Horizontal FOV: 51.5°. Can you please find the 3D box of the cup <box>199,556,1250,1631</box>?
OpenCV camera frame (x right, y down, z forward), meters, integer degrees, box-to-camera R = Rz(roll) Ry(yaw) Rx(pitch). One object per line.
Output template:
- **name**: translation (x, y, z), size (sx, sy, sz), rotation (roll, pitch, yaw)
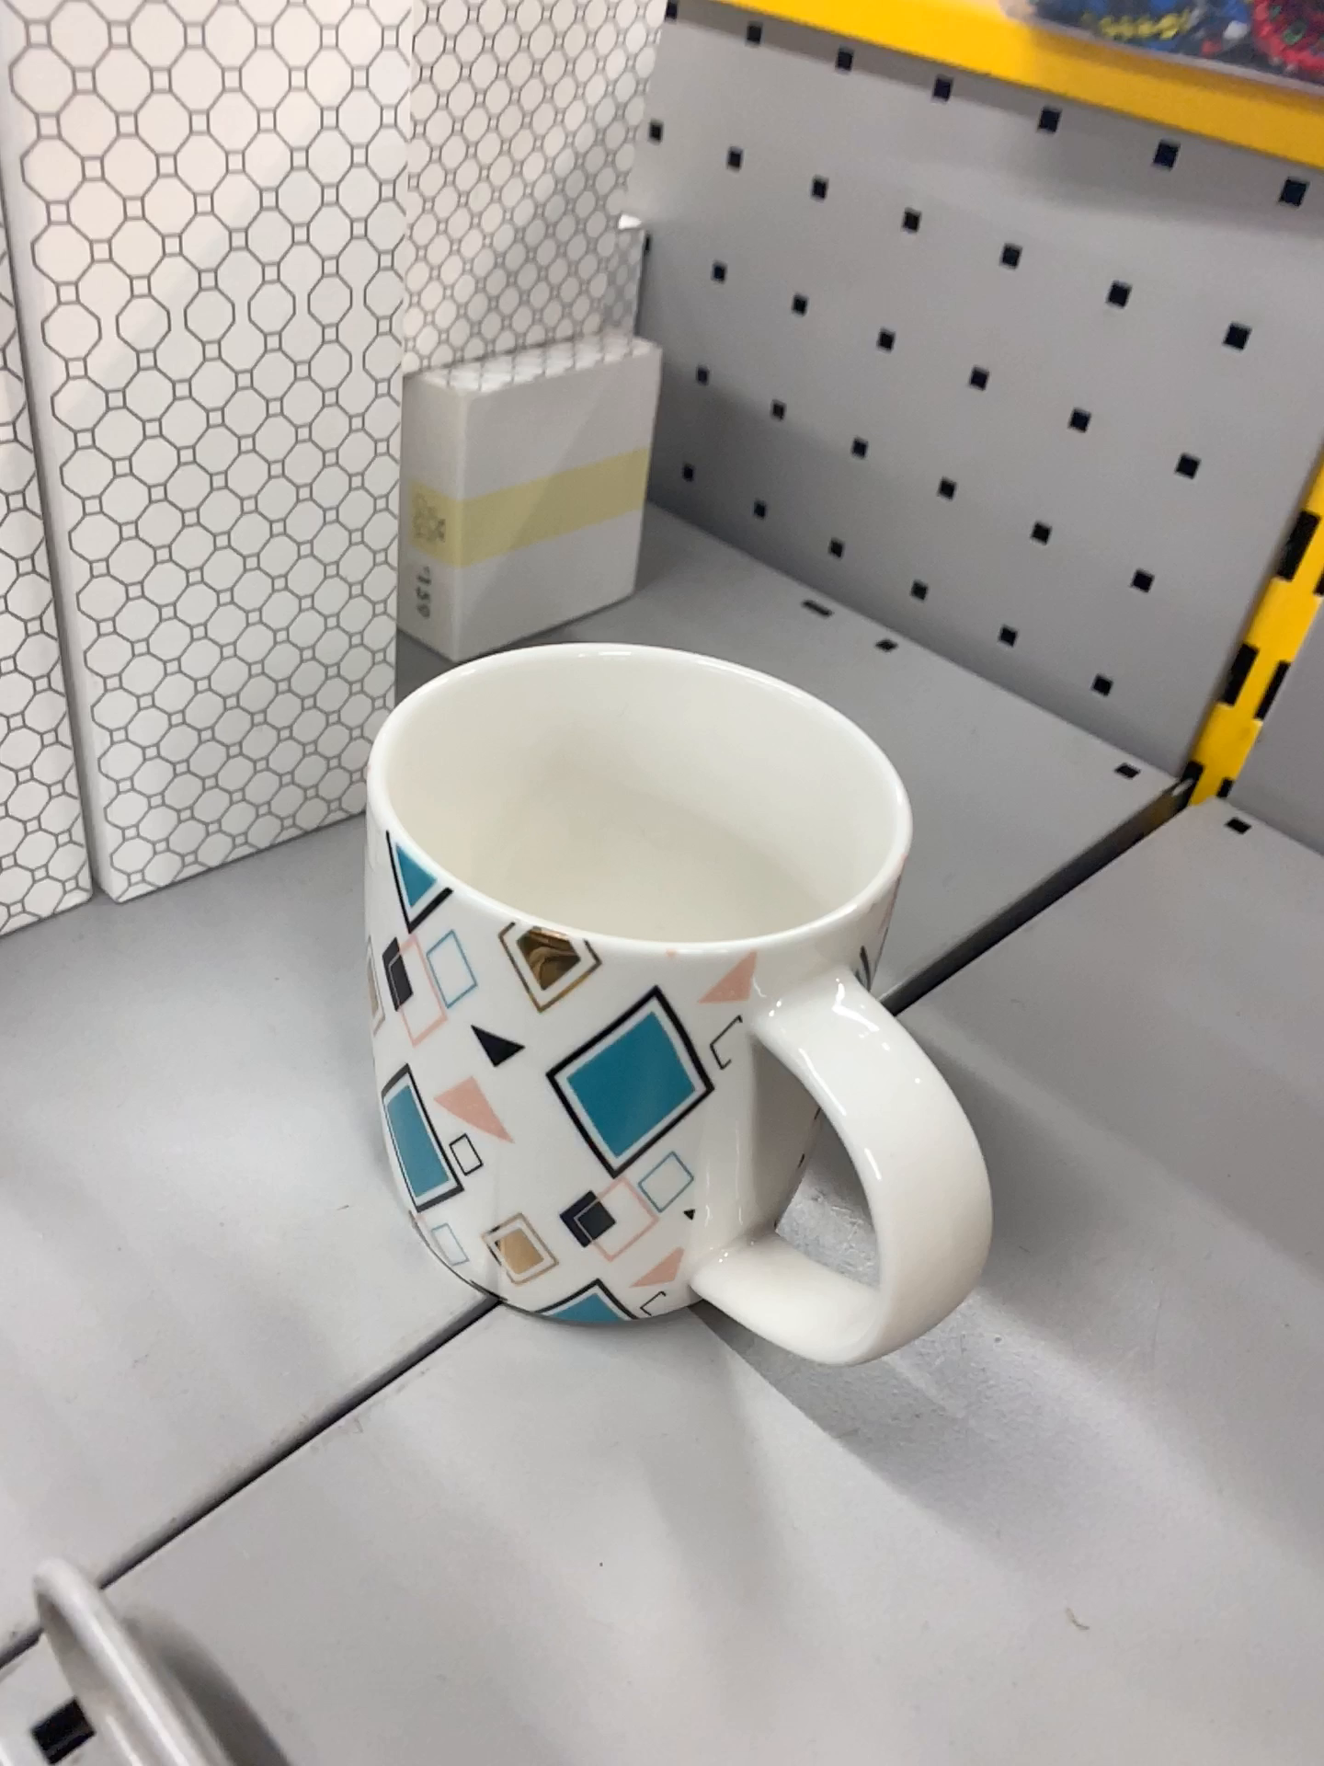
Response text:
- **cup**: translation (0.001, 0.022, 0.227), size (0.100, 0.090, 0.120), rotation (-22, 49, -34)
